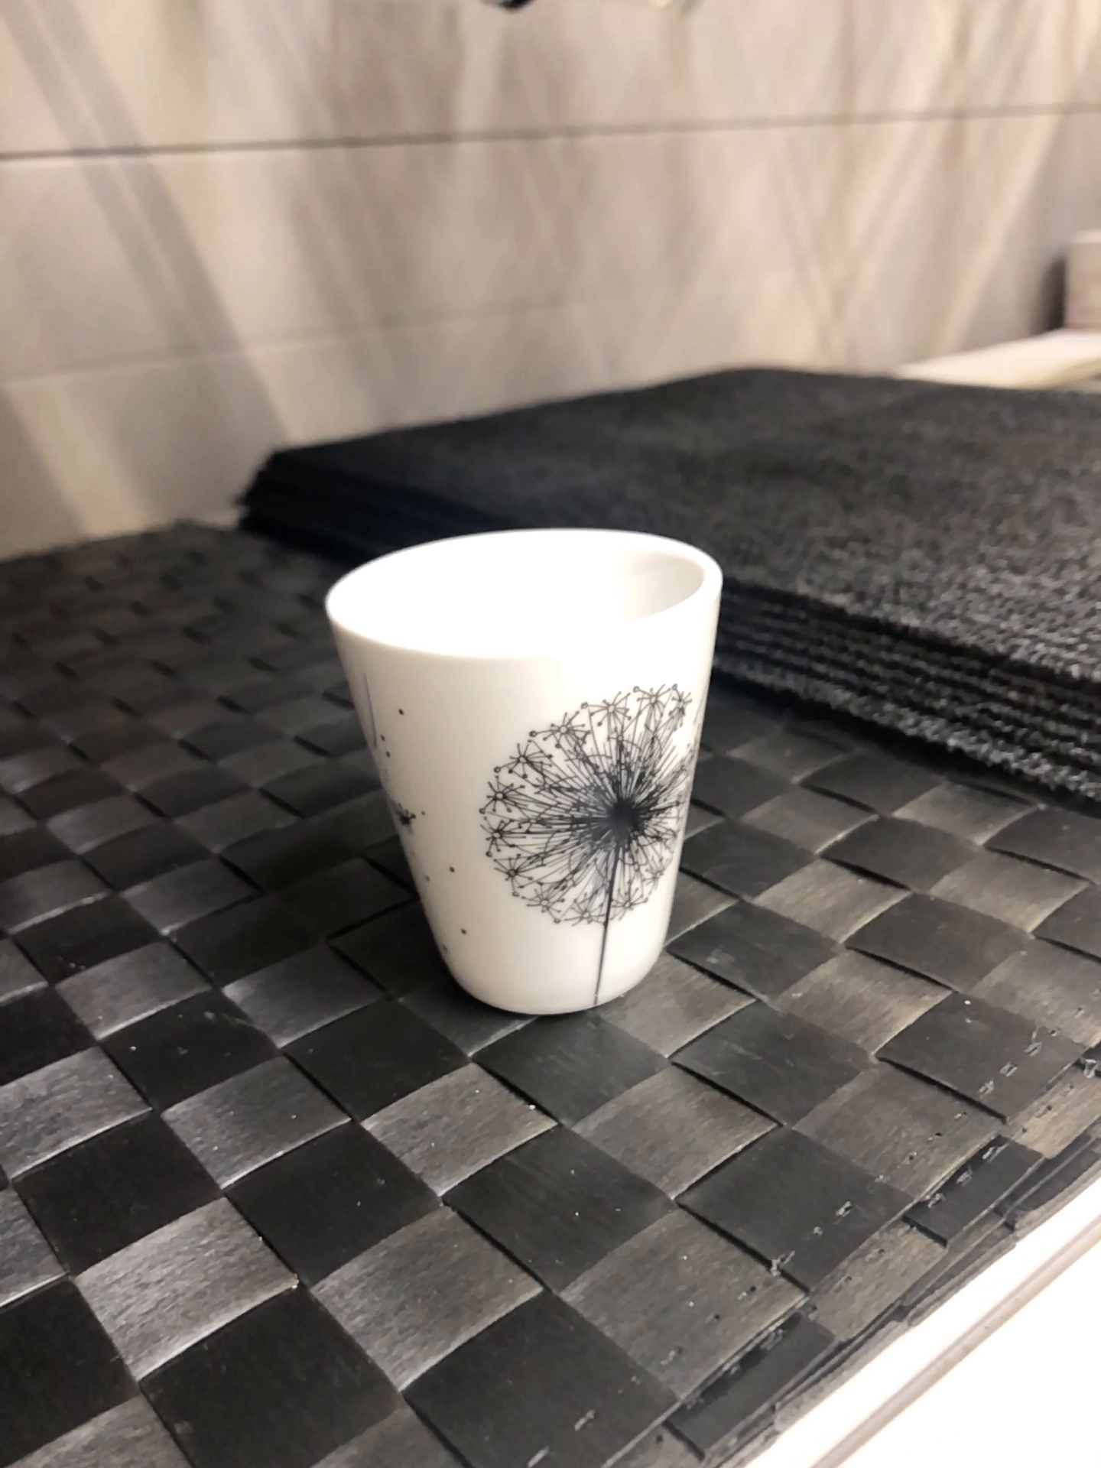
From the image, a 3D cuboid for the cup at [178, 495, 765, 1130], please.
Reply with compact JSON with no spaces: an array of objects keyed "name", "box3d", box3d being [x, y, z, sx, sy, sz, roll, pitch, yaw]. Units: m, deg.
[{"name":"cup","box3d":[-0.007,0.005,0.198,0.056,0.060,0.081,12,27,20]}]
